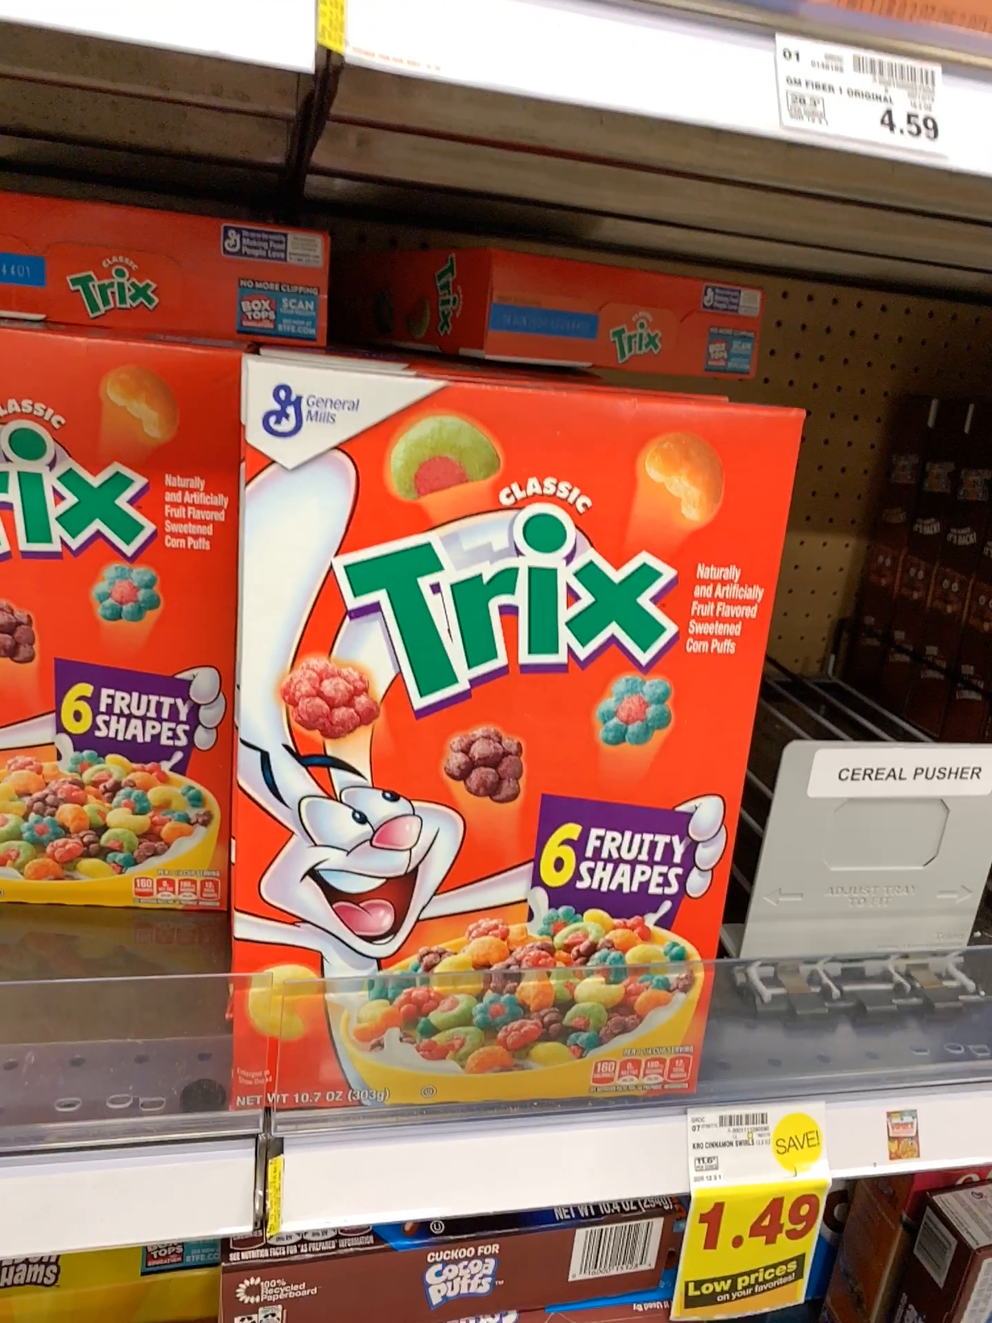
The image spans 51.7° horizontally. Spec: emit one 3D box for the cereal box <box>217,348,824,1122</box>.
[{"bbox_3d":[-0.002,0.037,0.409,0.200,0.289,0.060,2,17,-13],"label":"cereal box"}]
